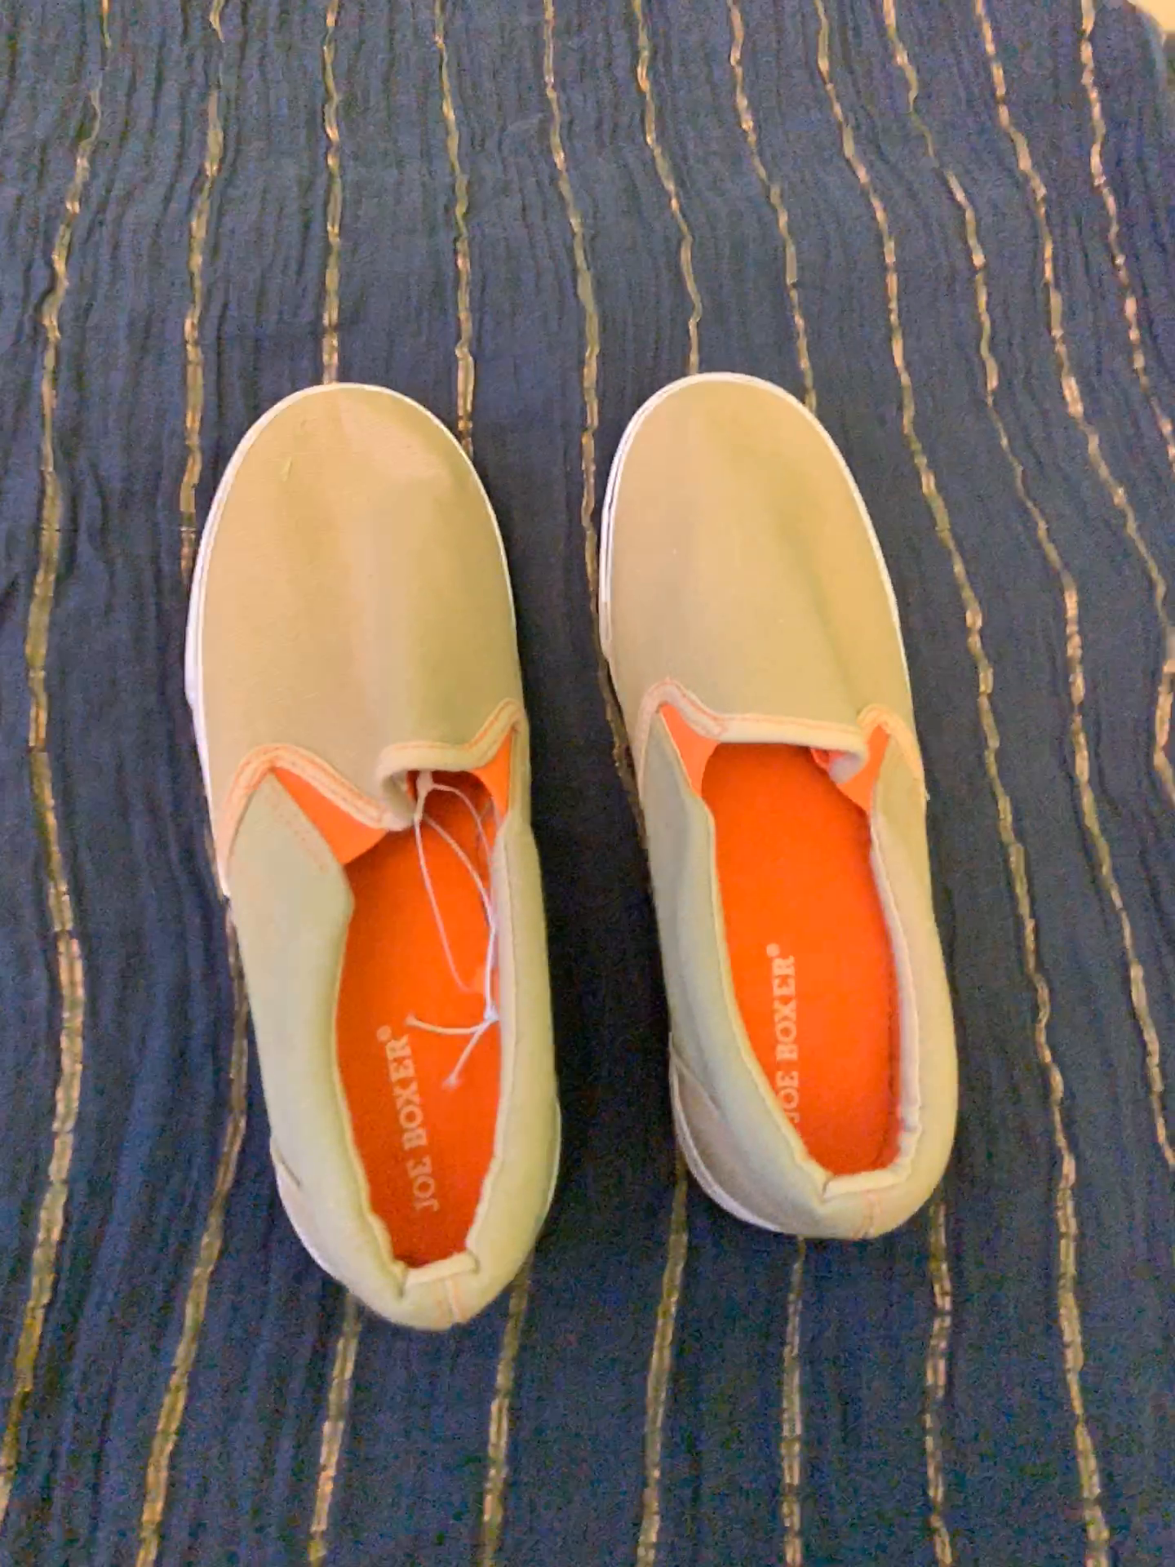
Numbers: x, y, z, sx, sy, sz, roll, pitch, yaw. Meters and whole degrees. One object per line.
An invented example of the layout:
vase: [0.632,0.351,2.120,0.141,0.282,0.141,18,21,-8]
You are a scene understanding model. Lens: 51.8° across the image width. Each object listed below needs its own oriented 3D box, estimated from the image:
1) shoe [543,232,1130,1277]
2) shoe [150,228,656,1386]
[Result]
shoe: [0.056,-0.014,0.346,0.100,0.080,0.271,-2,74,-13]
shoe: [-0.055,-0.003,0.312,0.095,0.080,0.263,-3,74,-13]
